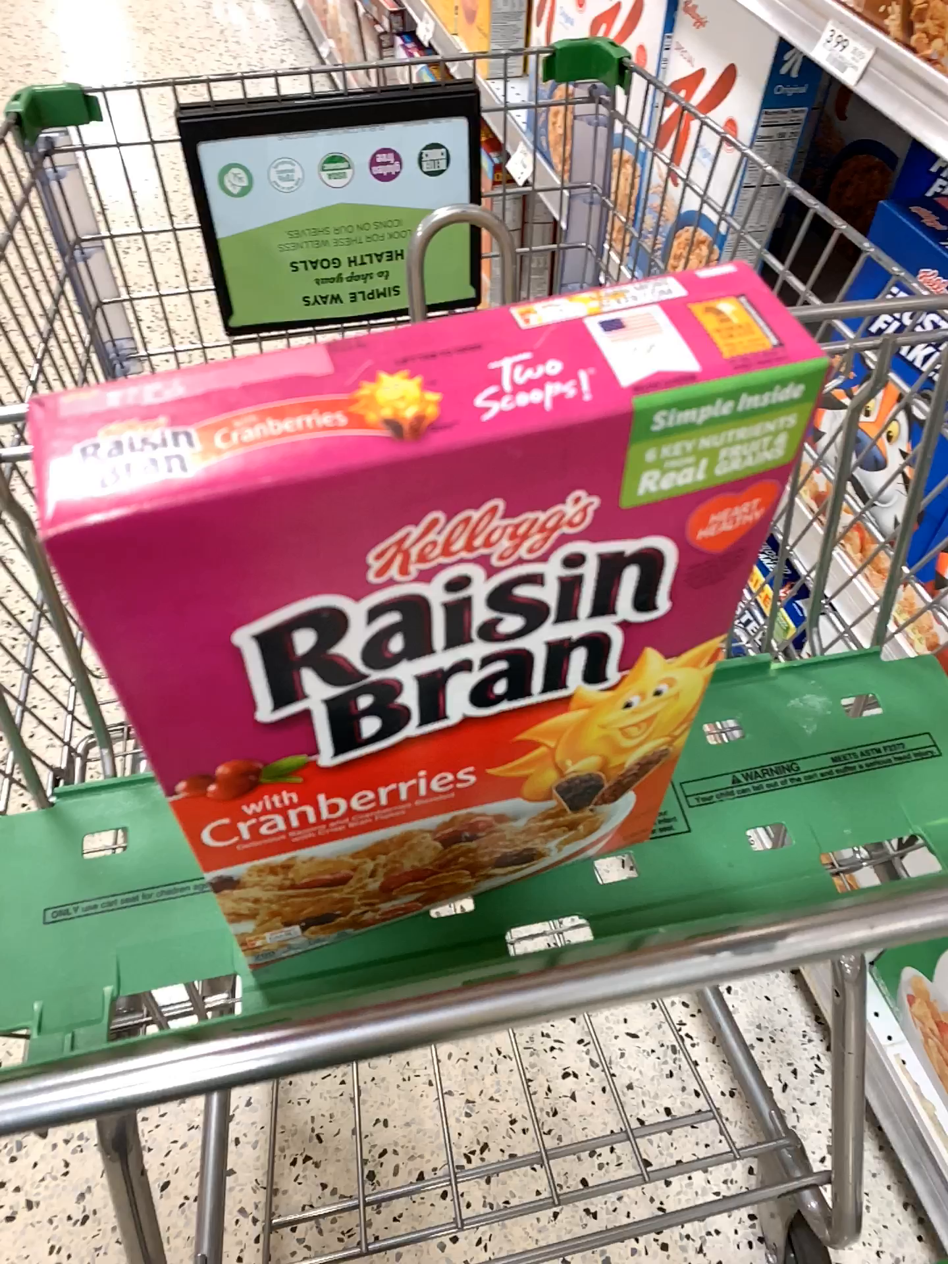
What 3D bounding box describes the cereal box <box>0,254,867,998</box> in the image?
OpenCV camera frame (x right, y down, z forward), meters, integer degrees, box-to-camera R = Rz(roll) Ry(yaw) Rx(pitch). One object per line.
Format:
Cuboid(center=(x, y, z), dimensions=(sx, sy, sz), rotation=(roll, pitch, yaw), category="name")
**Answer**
Cuboid(center=(-0.012, 0.034, 0.370), dimensions=(0.210, 0.327, 0.050), rotation=(-15, 56, -13), category="cereal box")
